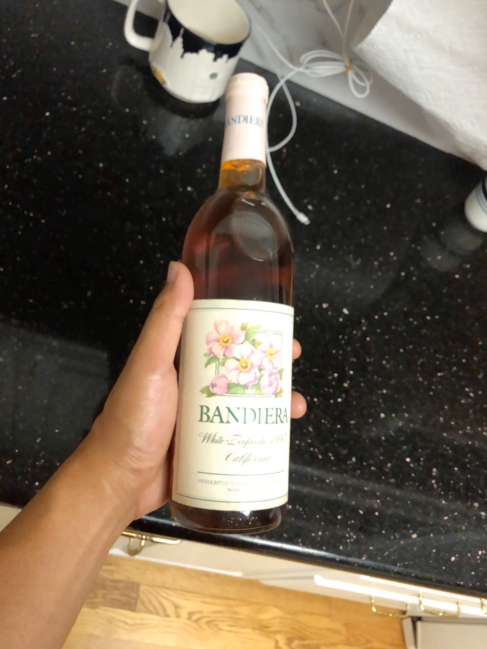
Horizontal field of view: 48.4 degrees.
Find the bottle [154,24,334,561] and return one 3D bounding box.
[{"bbox_3d":[0.000,-0.020,0.345,0.080,0.070,0.300,5,83,-21],"label":"bottle"}]
